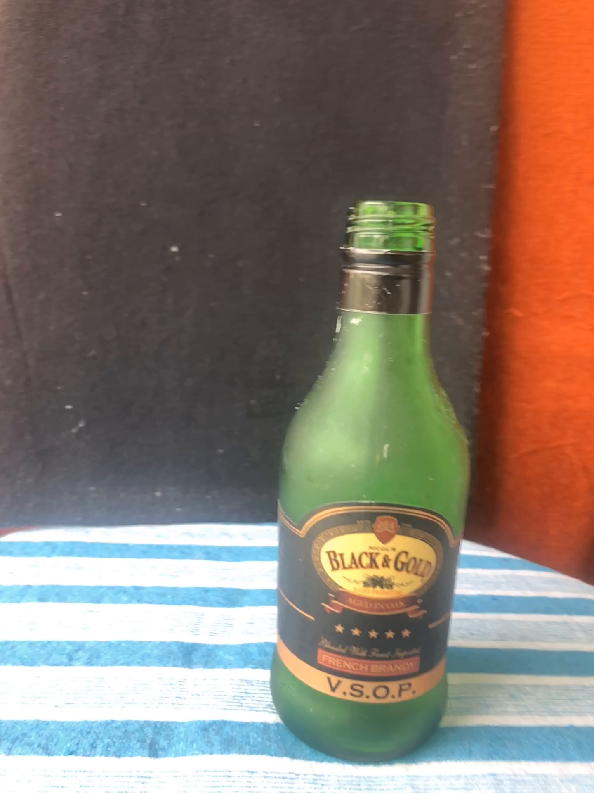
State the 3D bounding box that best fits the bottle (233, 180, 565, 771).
[{"bbox_3d":[0.019,0.019,0.183,0.060,0.140,0.060,5,12,-1],"label":"bottle"}]
